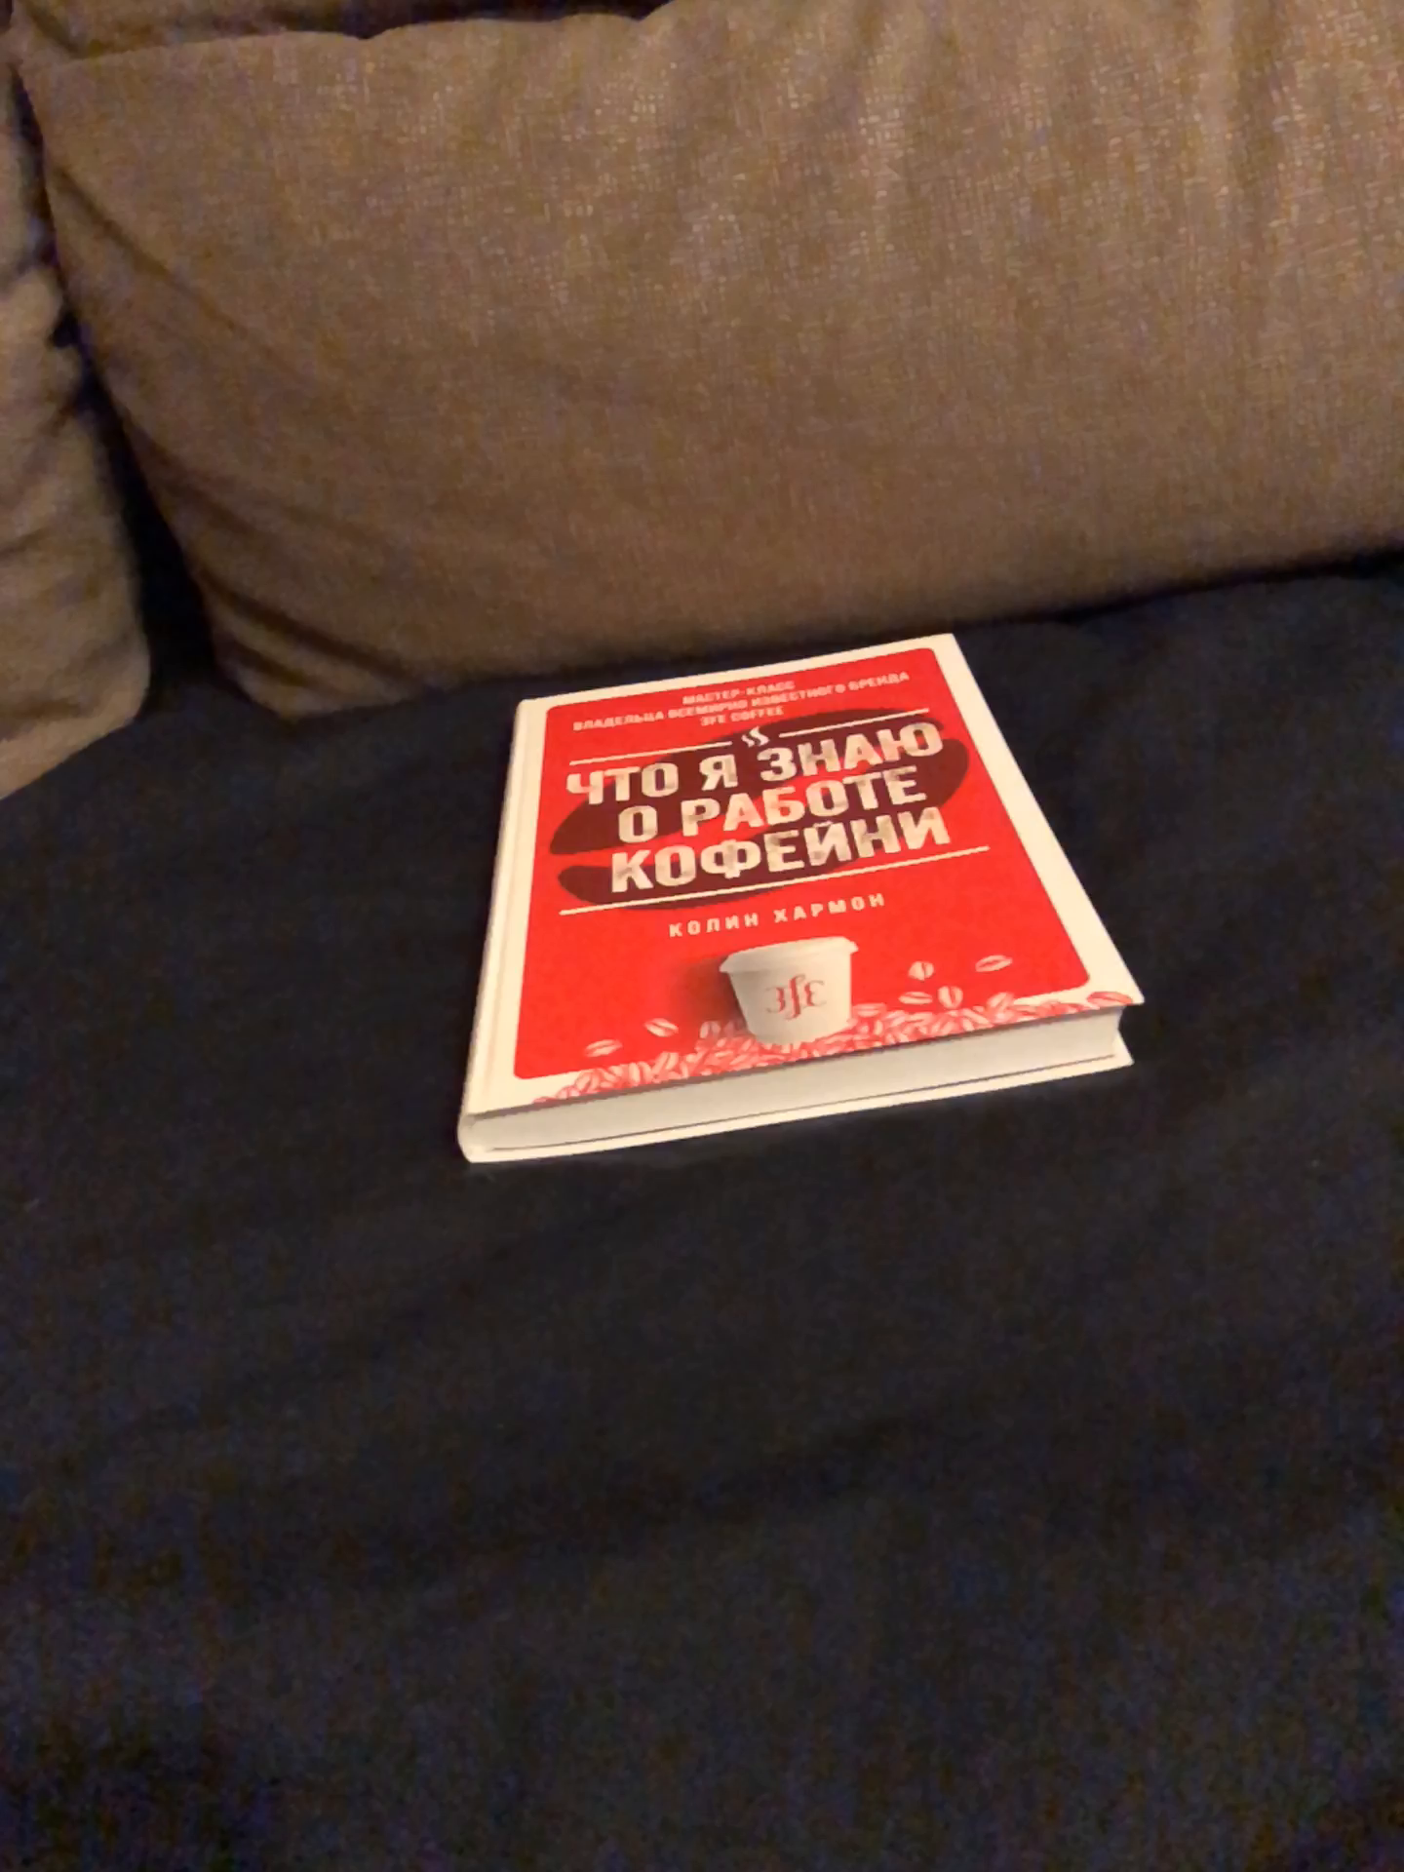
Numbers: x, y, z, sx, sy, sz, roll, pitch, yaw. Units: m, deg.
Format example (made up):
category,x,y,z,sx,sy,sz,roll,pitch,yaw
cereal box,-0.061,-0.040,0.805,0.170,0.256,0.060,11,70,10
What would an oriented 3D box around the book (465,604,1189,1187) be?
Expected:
category,x,y,z,sx,sy,sz,roll,pitch,yaw
book,0.022,-0.027,0.421,0.153,0.020,0.224,-10,33,3
